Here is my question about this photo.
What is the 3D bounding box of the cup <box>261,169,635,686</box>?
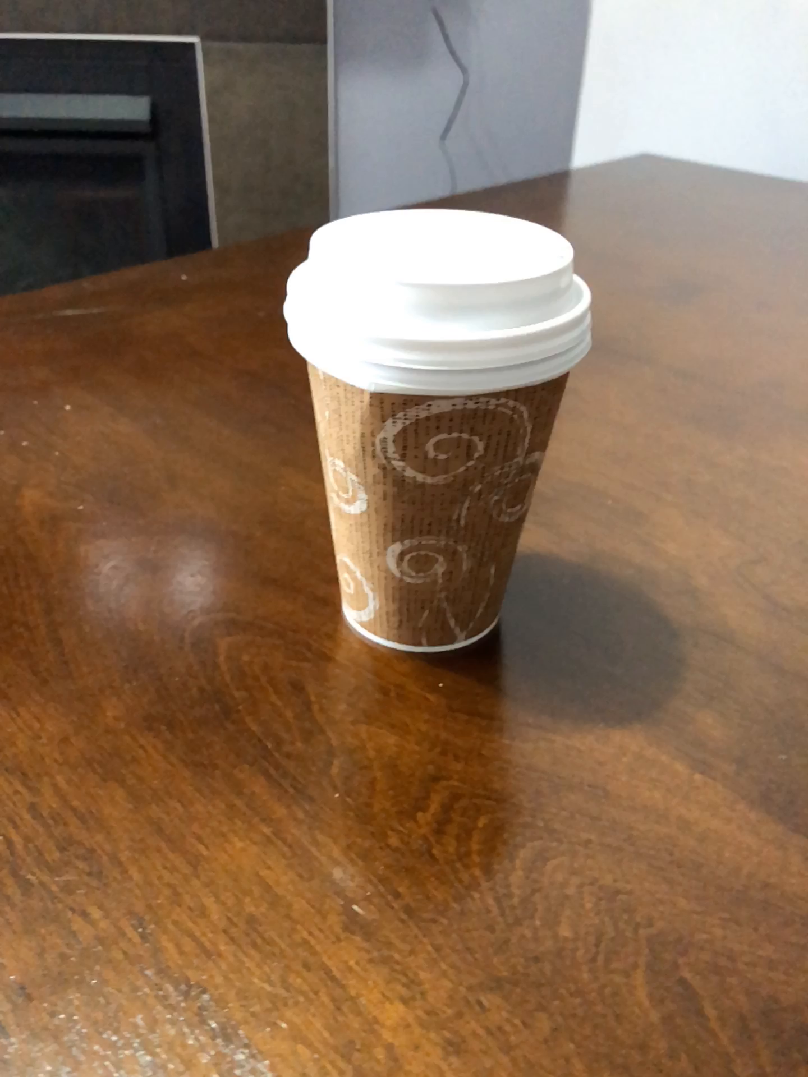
[{"bbox_3d":[0.010,-0.031,0.230,0.070,0.100,0.080,5,33,4],"label":"cup"}]
